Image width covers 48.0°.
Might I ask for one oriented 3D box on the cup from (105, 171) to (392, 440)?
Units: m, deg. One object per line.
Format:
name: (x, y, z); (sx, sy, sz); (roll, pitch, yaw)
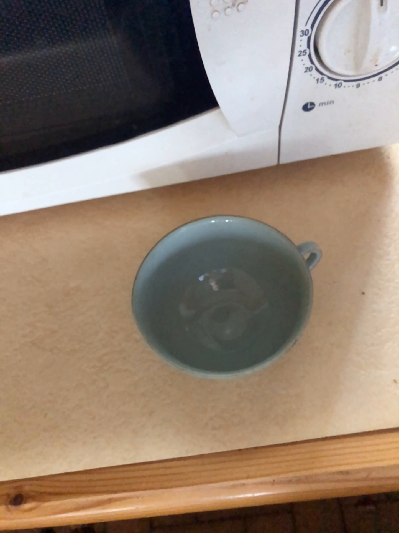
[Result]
cup: (0.022, 0.016, 0.218); (0.100, 0.040, 0.080); (-34, 62, -11)
